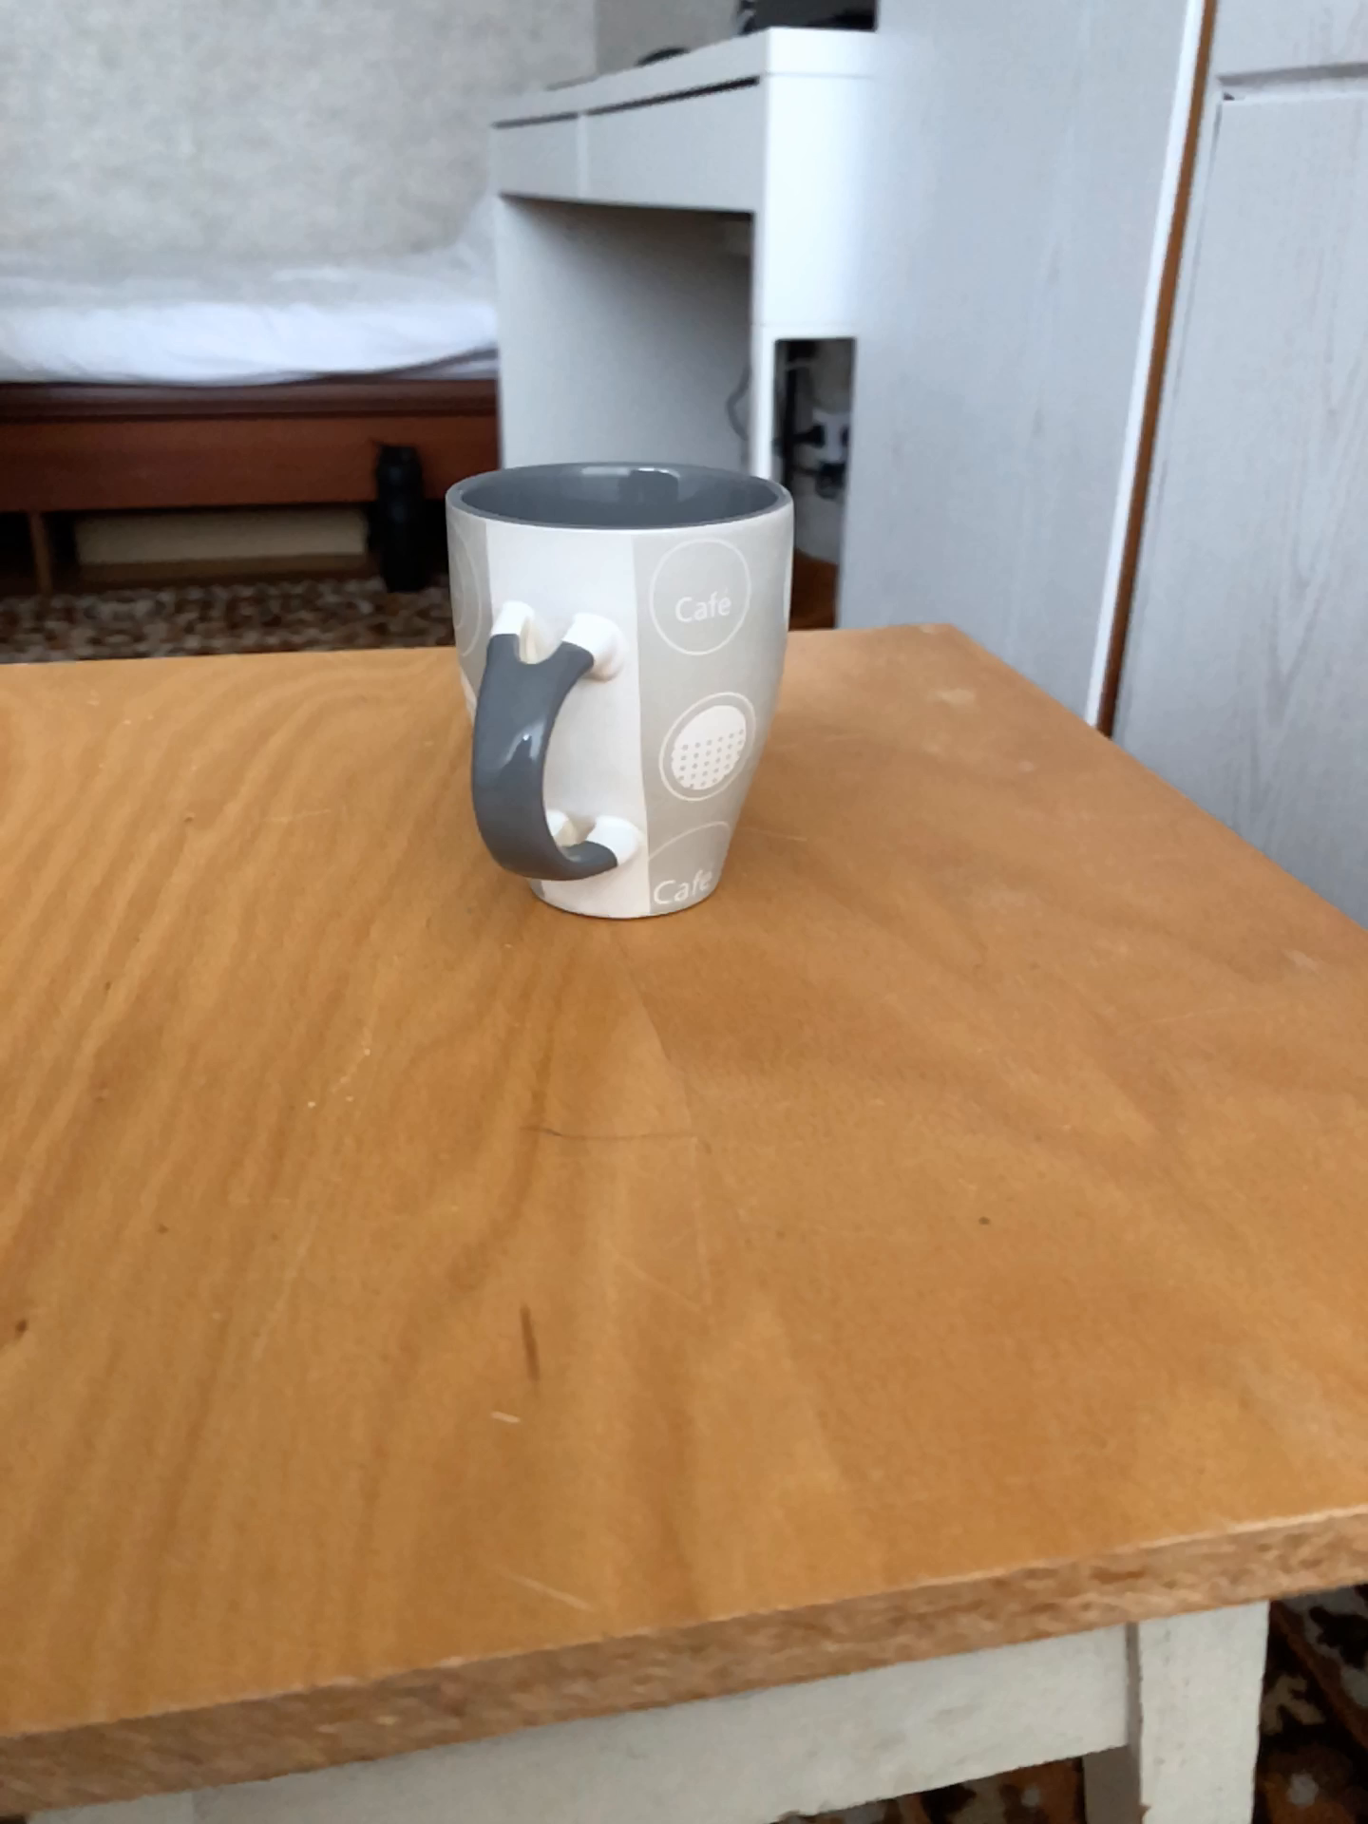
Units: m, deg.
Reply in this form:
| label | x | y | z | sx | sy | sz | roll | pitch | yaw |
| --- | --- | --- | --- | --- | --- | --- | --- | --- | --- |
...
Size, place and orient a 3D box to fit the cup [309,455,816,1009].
| label | x | y | z | sx | sy | sz | roll | pitch | yaw |
| --- | --- | --- | --- | --- | --- | --- | --- | --- | --- |
| cup | -0.020 | -0.051 | 0.363 | 0.084 | 0.093 | 0.127 | 5 | 25 | 10 |
